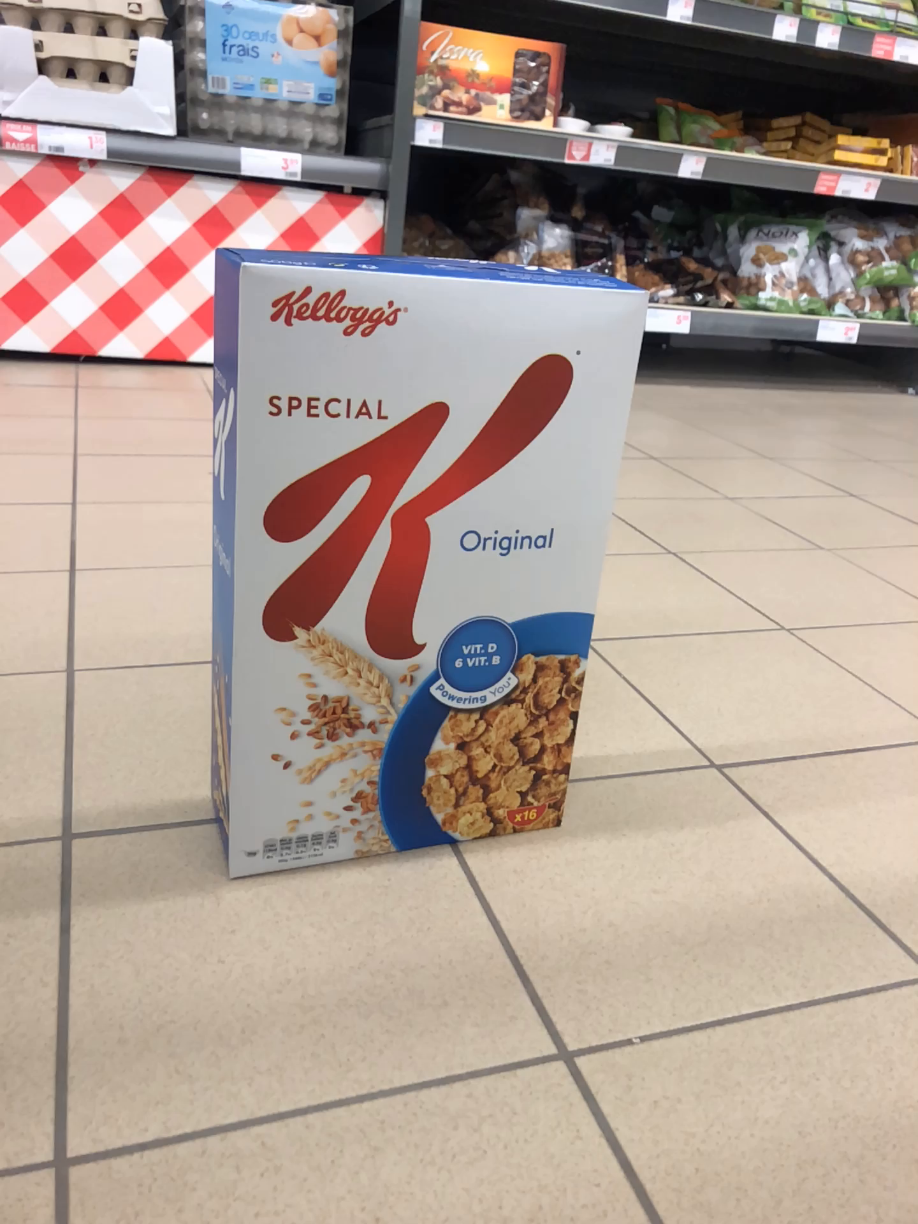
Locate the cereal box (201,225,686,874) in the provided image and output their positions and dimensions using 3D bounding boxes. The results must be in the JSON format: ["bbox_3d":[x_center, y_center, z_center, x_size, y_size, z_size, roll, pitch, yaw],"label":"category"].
[{"bbox_3d":[-0.019,-0.027,0.514,0.211,0.299,0.070,-3,23,-21],"label":"cereal box"}]
